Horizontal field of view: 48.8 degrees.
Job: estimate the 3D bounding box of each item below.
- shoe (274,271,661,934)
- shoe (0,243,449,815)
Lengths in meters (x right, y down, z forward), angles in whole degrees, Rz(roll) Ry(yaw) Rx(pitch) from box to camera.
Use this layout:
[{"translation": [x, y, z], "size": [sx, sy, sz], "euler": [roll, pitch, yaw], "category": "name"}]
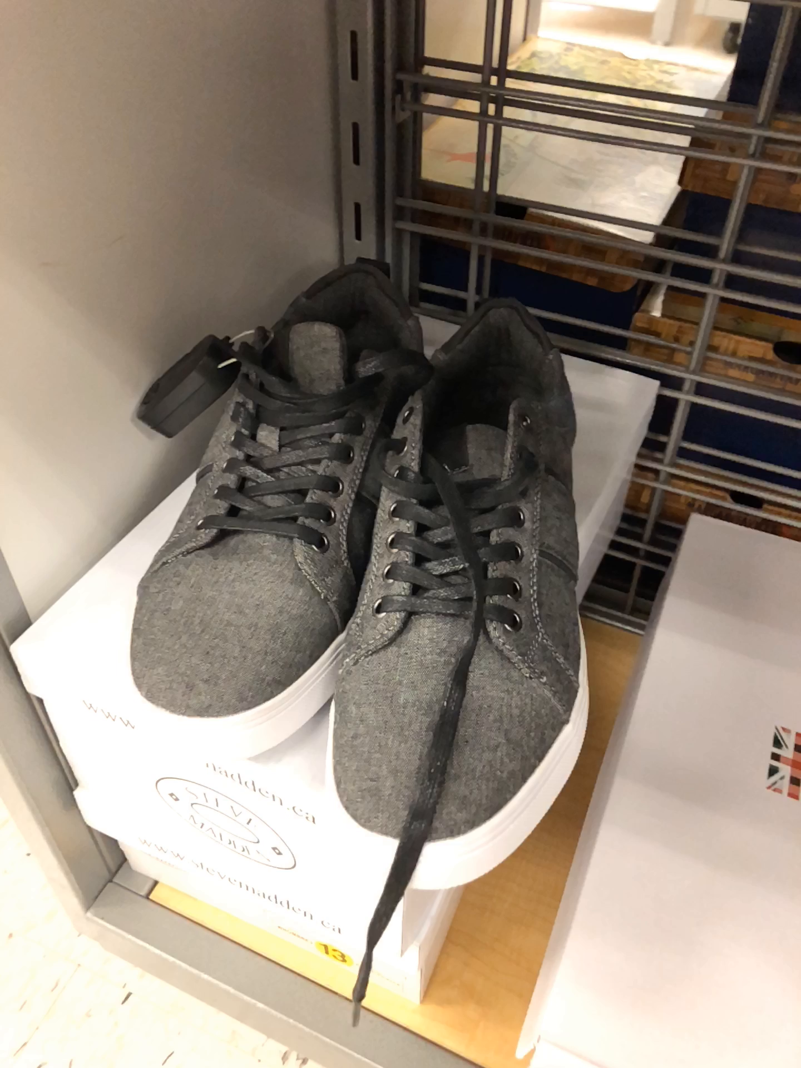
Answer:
[{"translation": [0.038, 0.004, 0.375], "size": [0.107, 0.099, 0.272], "euler": [7, 44, 6], "category": "shoe"}, {"translation": [-0.056, -0.024, 0.409], "size": [0.107, 0.099, 0.262], "euler": [9, 45, 8], "category": "shoe"}]
